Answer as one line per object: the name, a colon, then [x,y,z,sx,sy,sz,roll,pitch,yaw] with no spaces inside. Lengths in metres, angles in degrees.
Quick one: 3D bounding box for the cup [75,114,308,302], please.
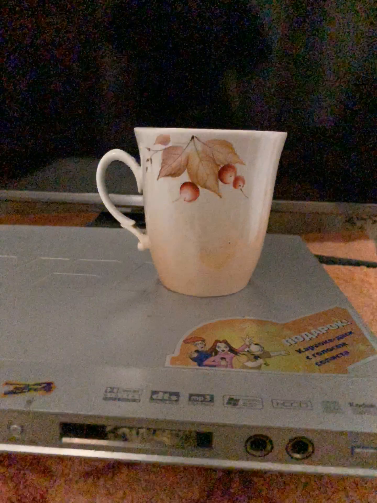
cup: [0.000,-0.034,0.250,0.113,0.091,0.101,3,16,1]
